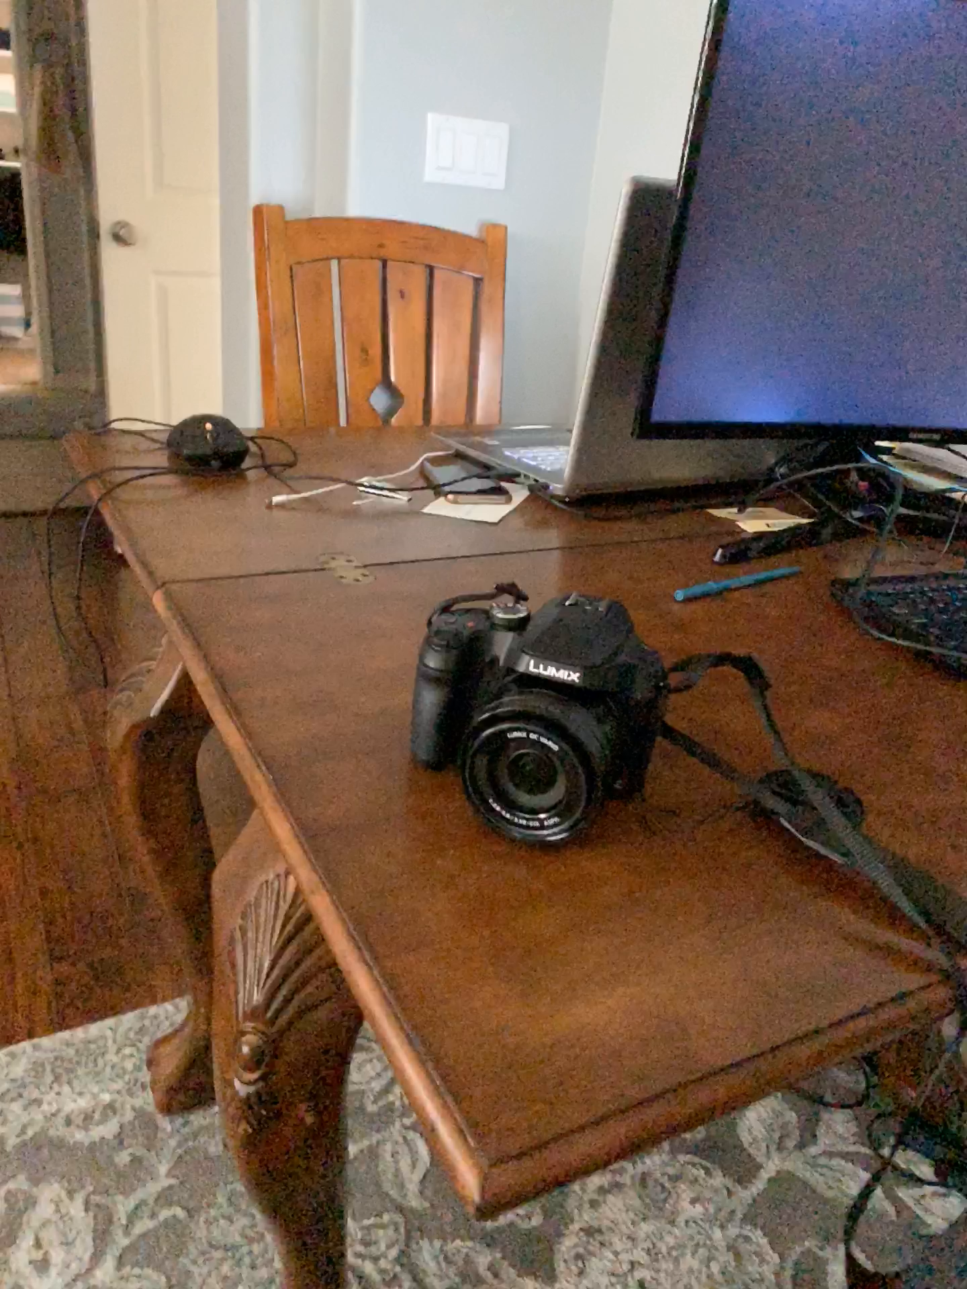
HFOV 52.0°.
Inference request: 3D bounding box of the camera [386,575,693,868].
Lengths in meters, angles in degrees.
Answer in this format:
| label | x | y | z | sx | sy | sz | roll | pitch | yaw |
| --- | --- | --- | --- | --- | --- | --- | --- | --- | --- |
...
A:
| label | x | y | z | sx | sy | sz | roll | pitch | yaw |
| --- | --- | --- | --- | --- | --- | --- | --- | --- | --- |
| camera | 0.032 | 0.034 | 0.527 | 0.130 | 0.089 | 0.111 | 12 | 24 | 14 |
